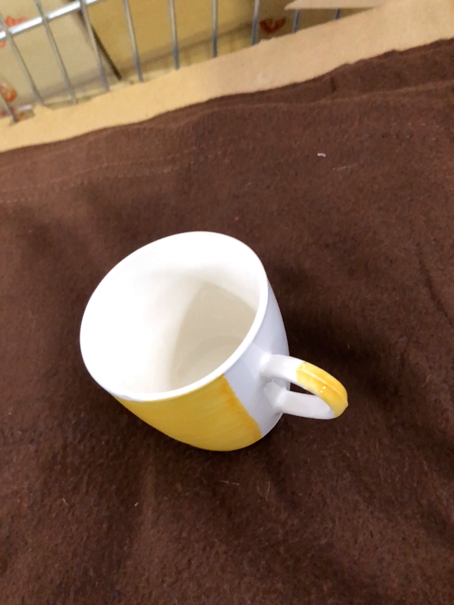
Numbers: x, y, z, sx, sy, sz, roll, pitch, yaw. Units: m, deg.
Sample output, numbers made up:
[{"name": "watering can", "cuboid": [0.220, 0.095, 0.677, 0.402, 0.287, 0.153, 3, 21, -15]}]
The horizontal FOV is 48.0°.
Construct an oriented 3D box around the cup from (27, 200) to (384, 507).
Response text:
[{"name": "cup", "cuboid": [-0.003, 0.014, 0.174, 0.090, 0.060, 0.060, 16, 63, 29]}]
